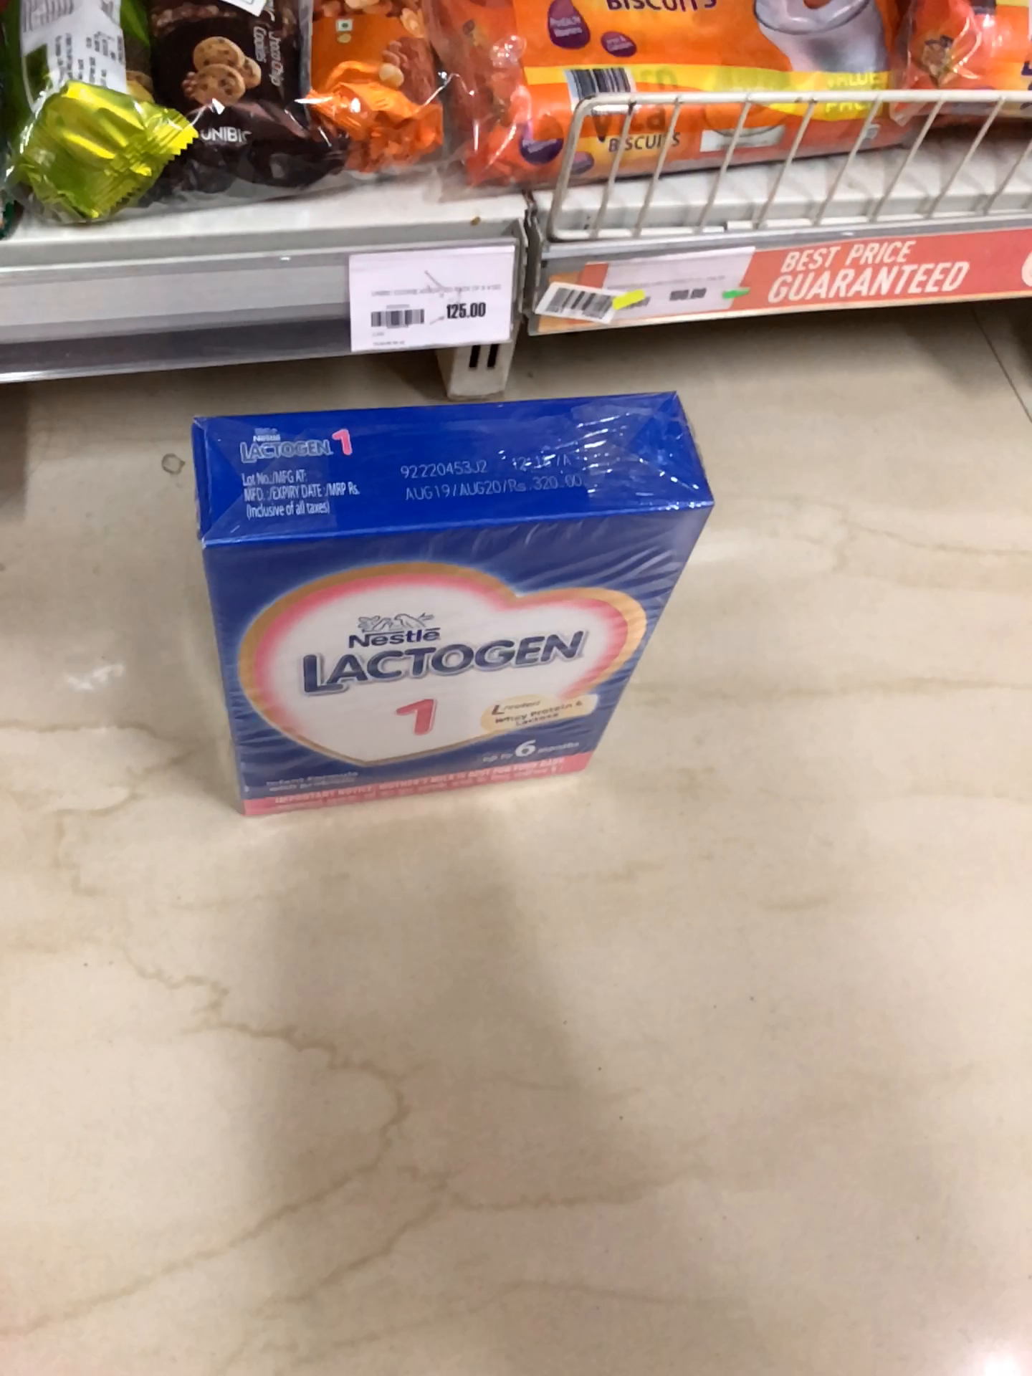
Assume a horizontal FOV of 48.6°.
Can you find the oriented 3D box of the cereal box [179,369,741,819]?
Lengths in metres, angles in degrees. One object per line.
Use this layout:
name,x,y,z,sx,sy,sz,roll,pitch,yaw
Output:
cereal box,-0.029,-0.022,0.400,0.150,0.189,0.050,-7,64,-14
